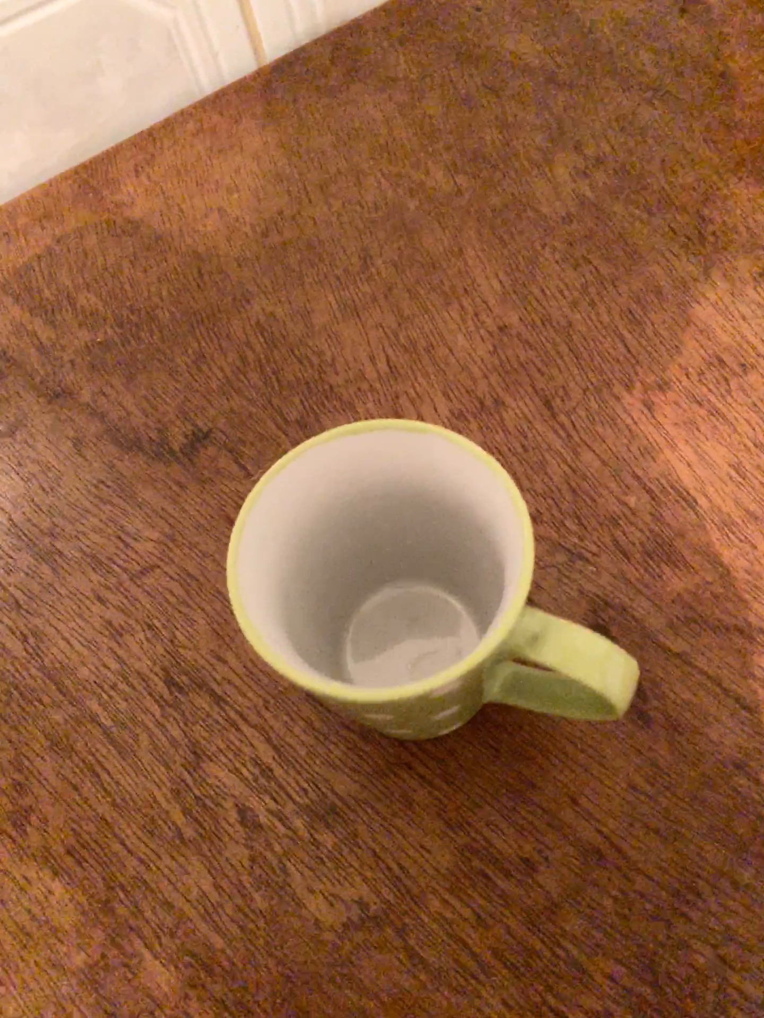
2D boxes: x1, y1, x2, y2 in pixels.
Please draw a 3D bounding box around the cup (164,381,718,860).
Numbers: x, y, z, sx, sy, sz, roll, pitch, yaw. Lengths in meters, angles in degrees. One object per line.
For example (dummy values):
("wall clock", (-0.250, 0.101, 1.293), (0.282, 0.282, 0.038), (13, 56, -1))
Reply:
("cup", (0.023, 0.037, 0.245), (0.120, 0.100, 0.090), (14, 65, 16))
